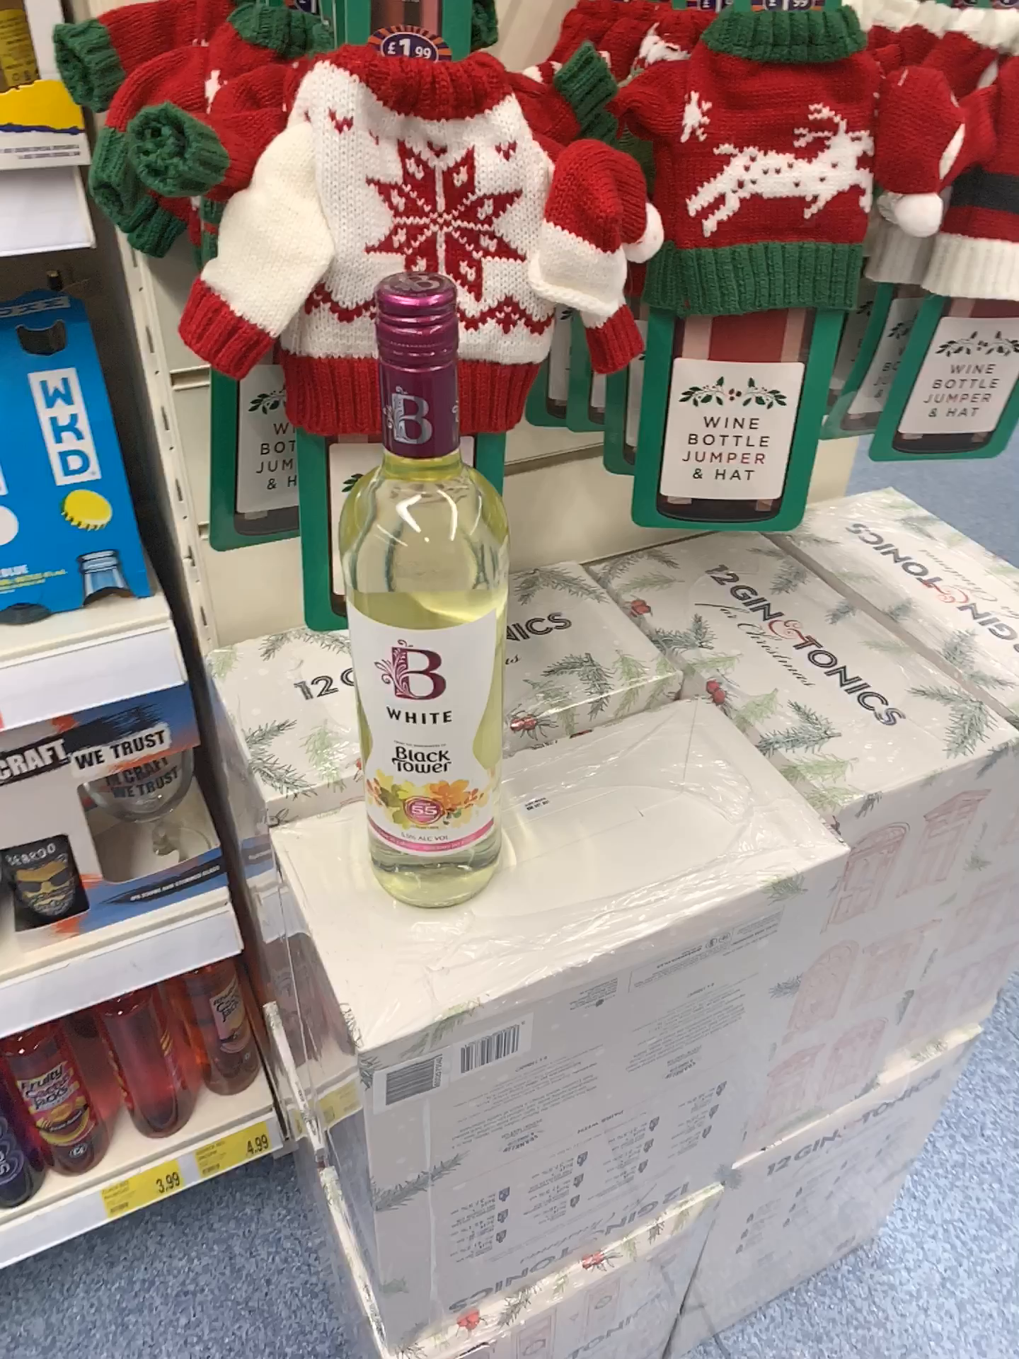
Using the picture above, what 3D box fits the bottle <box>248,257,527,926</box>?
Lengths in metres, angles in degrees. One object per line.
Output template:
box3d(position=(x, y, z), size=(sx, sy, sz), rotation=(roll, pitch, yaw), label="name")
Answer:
box3d(position=(-0.043, -0.022, 0.458), size=(0.081, 0.288, 0.081), rotation=(1, 38, -1), label="bottle")
